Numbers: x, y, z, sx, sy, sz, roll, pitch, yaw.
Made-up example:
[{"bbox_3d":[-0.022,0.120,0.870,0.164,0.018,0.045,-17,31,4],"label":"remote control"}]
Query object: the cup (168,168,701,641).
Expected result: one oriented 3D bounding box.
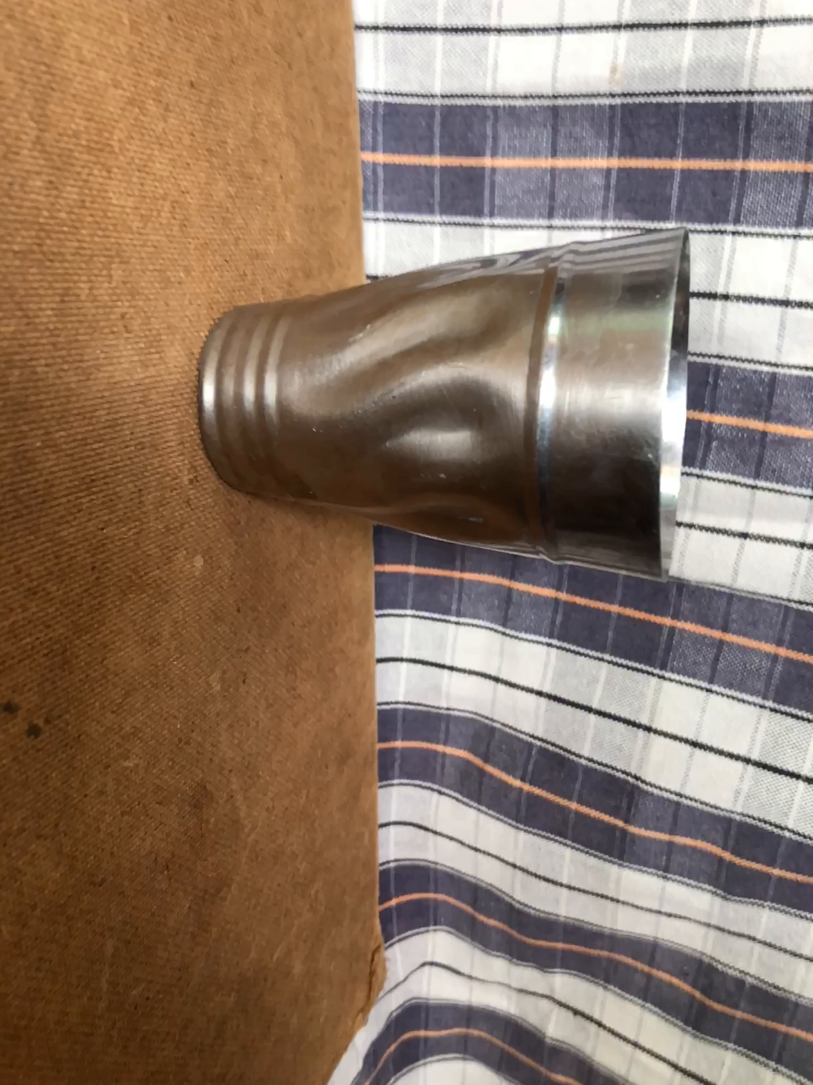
[{"bbox_3d":[0.016,-0.026,0.217,0.080,0.099,0.080,4,90,-72],"label":"cup"}]
